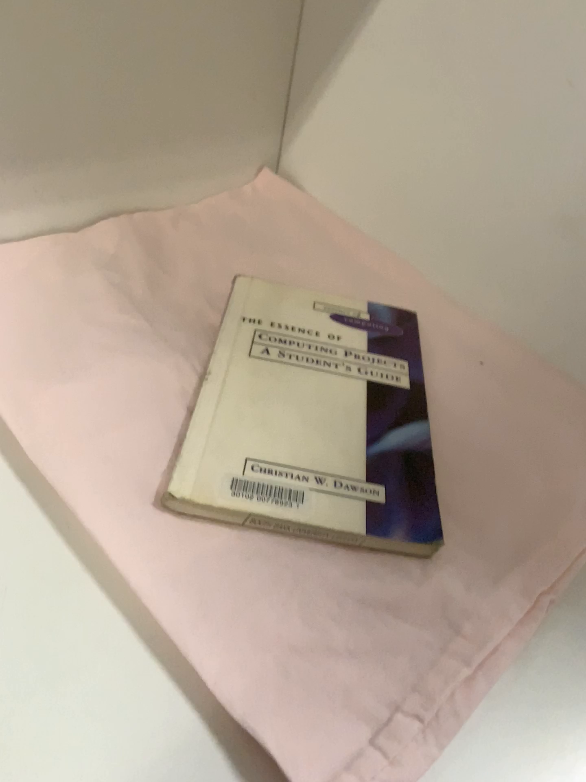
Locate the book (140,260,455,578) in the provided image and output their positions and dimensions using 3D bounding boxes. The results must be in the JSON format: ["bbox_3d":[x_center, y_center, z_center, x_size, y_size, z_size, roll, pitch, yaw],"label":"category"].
[{"bbox_3d":[0.013,-0.004,0.427,0.170,0.020,0.263,10,41,-2],"label":"book"}]
